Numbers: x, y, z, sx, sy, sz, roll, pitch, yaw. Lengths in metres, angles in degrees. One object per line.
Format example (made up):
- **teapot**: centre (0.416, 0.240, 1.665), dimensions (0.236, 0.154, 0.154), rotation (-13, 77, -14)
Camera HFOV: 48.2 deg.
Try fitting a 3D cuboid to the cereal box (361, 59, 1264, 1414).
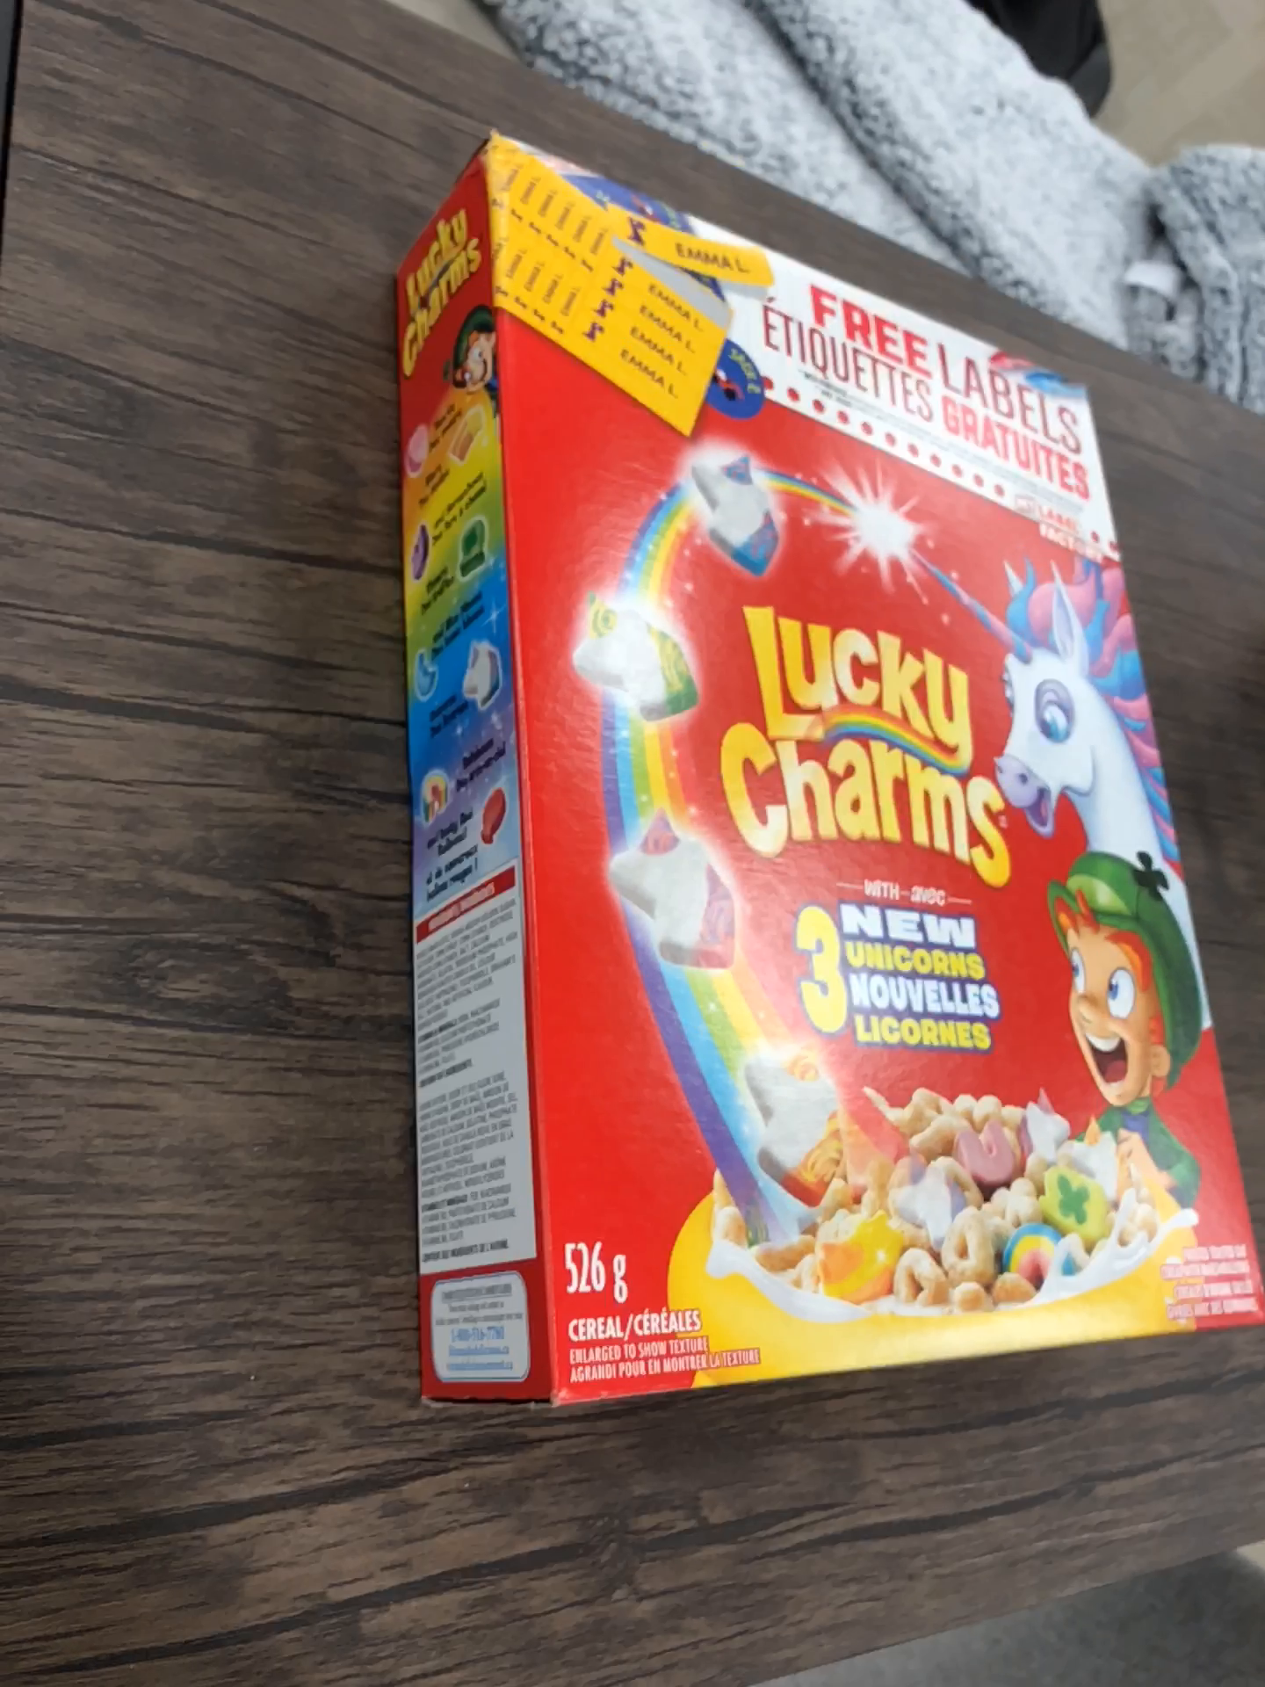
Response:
- **cereal box**: centre (0.048, -0.024, 0.410), dimensions (0.231, 0.080, 0.330), rotation (8, 67, -33)
